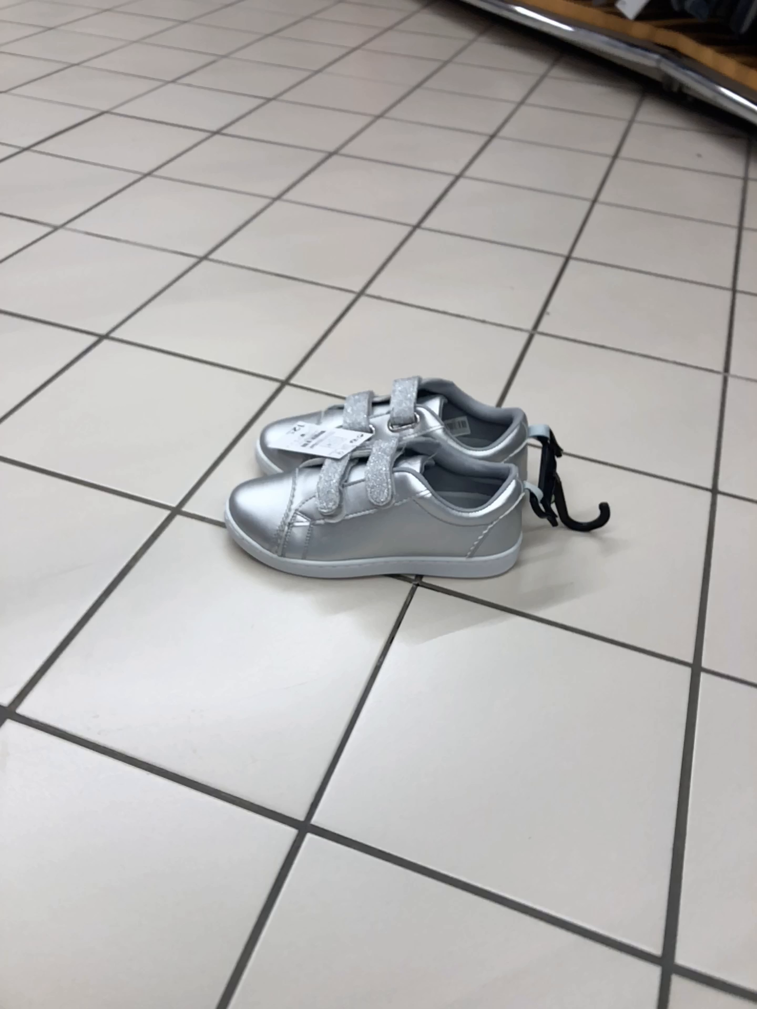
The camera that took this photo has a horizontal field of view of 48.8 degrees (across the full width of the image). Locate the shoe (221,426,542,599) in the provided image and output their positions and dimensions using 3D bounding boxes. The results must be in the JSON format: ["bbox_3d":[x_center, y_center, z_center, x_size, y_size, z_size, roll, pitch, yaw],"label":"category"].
[{"bbox_3d":[0.000,0.006,0.618,0.215,0.085,0.091,1,41,-3],"label":"shoe"}]

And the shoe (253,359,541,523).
[{"bbox_3d":[0.013,-0.052,0.682,0.215,0.085,0.091,3,41,-1],"label":"shoe"}]
